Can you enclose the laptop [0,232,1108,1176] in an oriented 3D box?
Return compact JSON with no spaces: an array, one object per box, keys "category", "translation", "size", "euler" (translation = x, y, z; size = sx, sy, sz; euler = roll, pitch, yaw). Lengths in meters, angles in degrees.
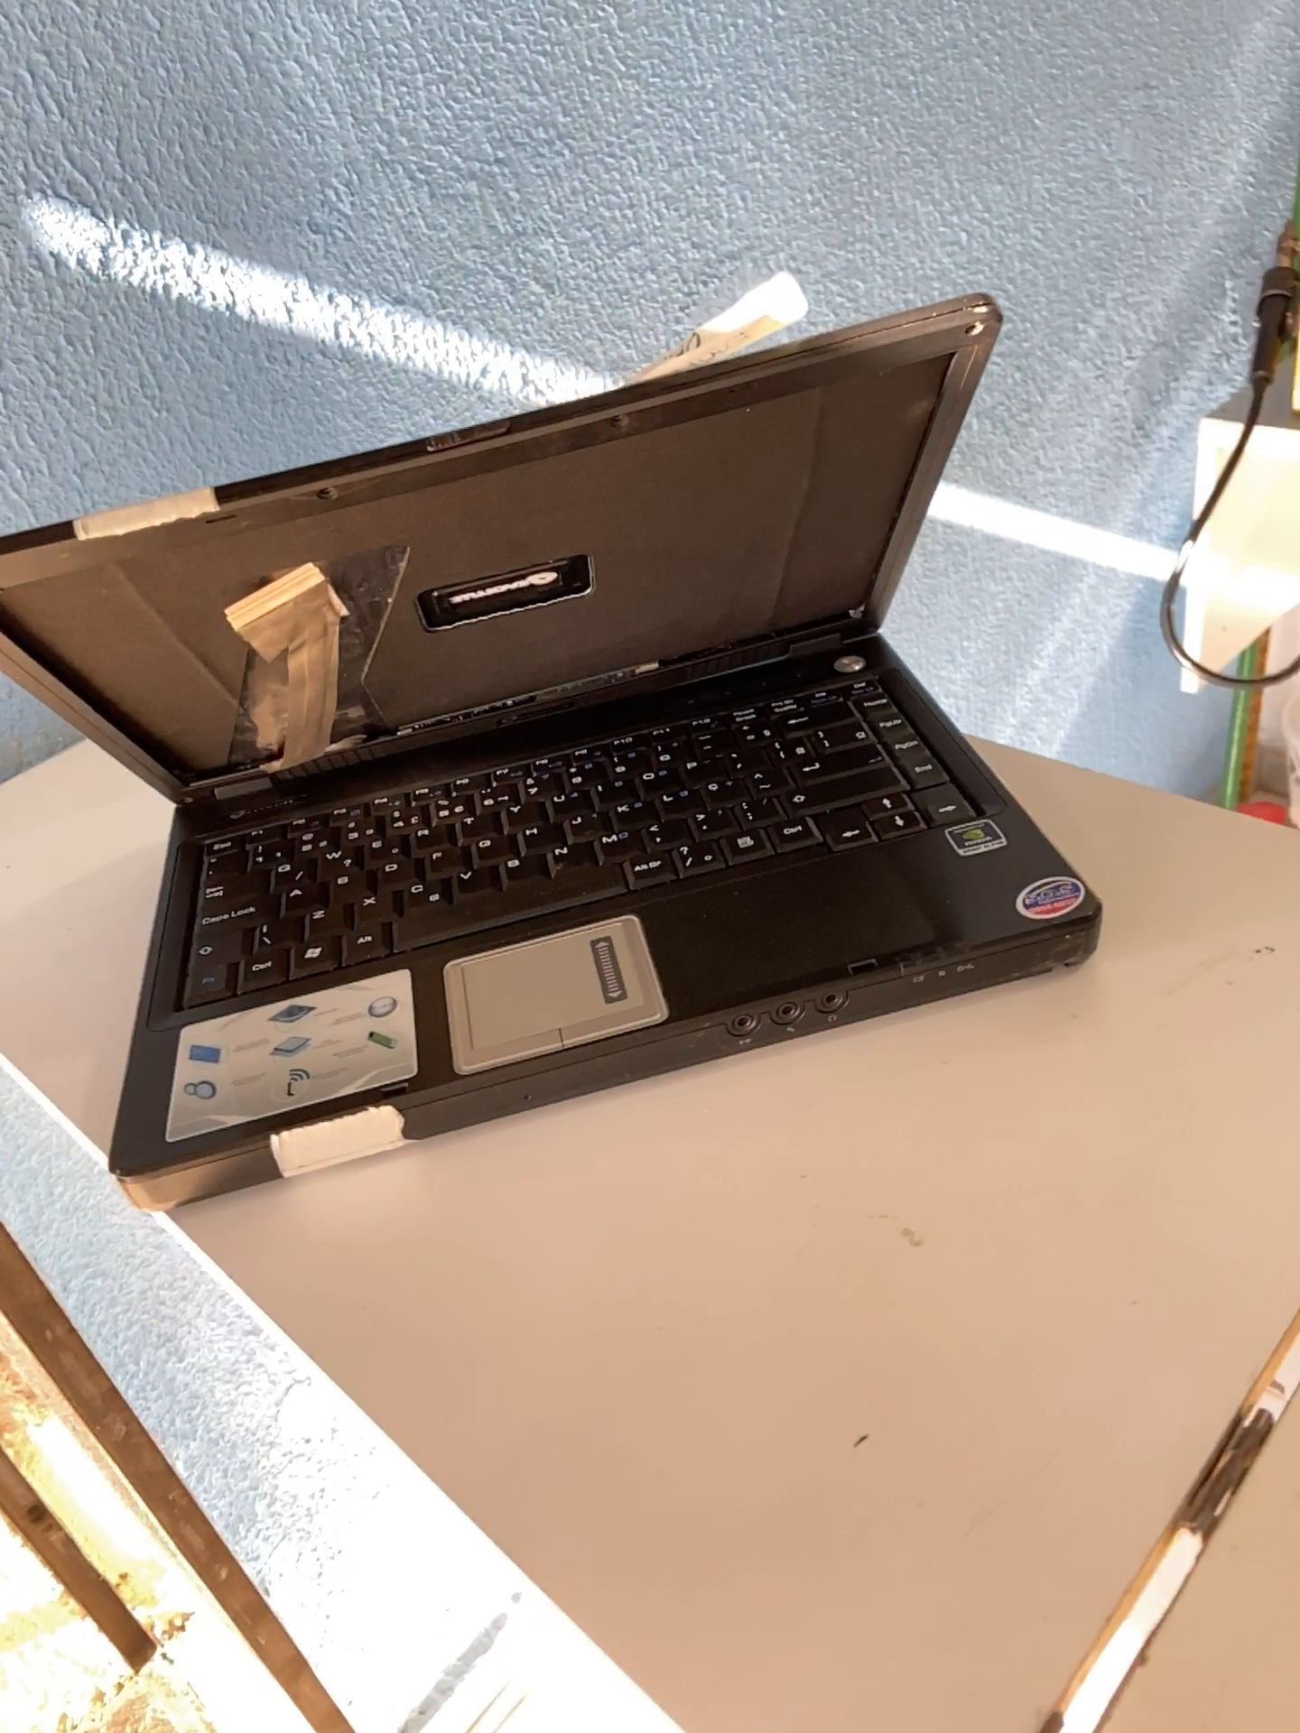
[{"category":"laptop","translation":[-0.047,-0.076,0.471],"size":[0.328,0.174,0.225],"euler":[-15,35,-4]}]
